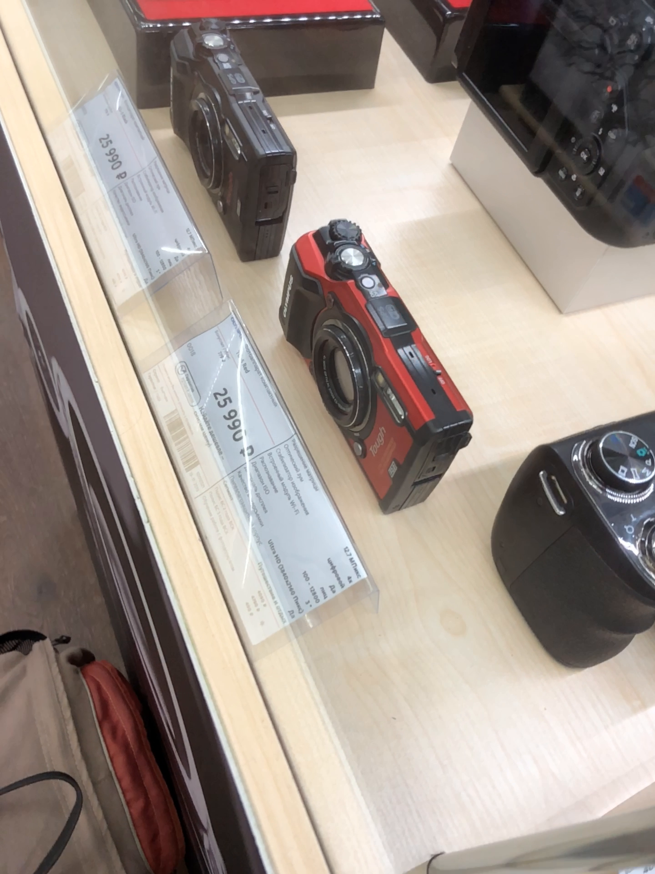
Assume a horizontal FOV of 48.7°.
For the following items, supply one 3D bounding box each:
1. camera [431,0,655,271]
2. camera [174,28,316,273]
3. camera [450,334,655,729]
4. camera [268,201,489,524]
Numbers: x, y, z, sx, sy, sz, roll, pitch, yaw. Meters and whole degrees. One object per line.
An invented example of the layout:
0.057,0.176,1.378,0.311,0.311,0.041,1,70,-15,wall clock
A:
0.148,-0.170,0.336,0.127,0.086,0.147,-15,61,-21,camera
-0.048,-0.152,0.381,0.030,0.061,0.117,-16,61,-21,camera
0.130,0.033,0.274,0.117,0.078,0.094,-15,61,-21,camera
0.014,-0.033,0.301,0.030,0.061,0.119,-16,61,-21,camera
